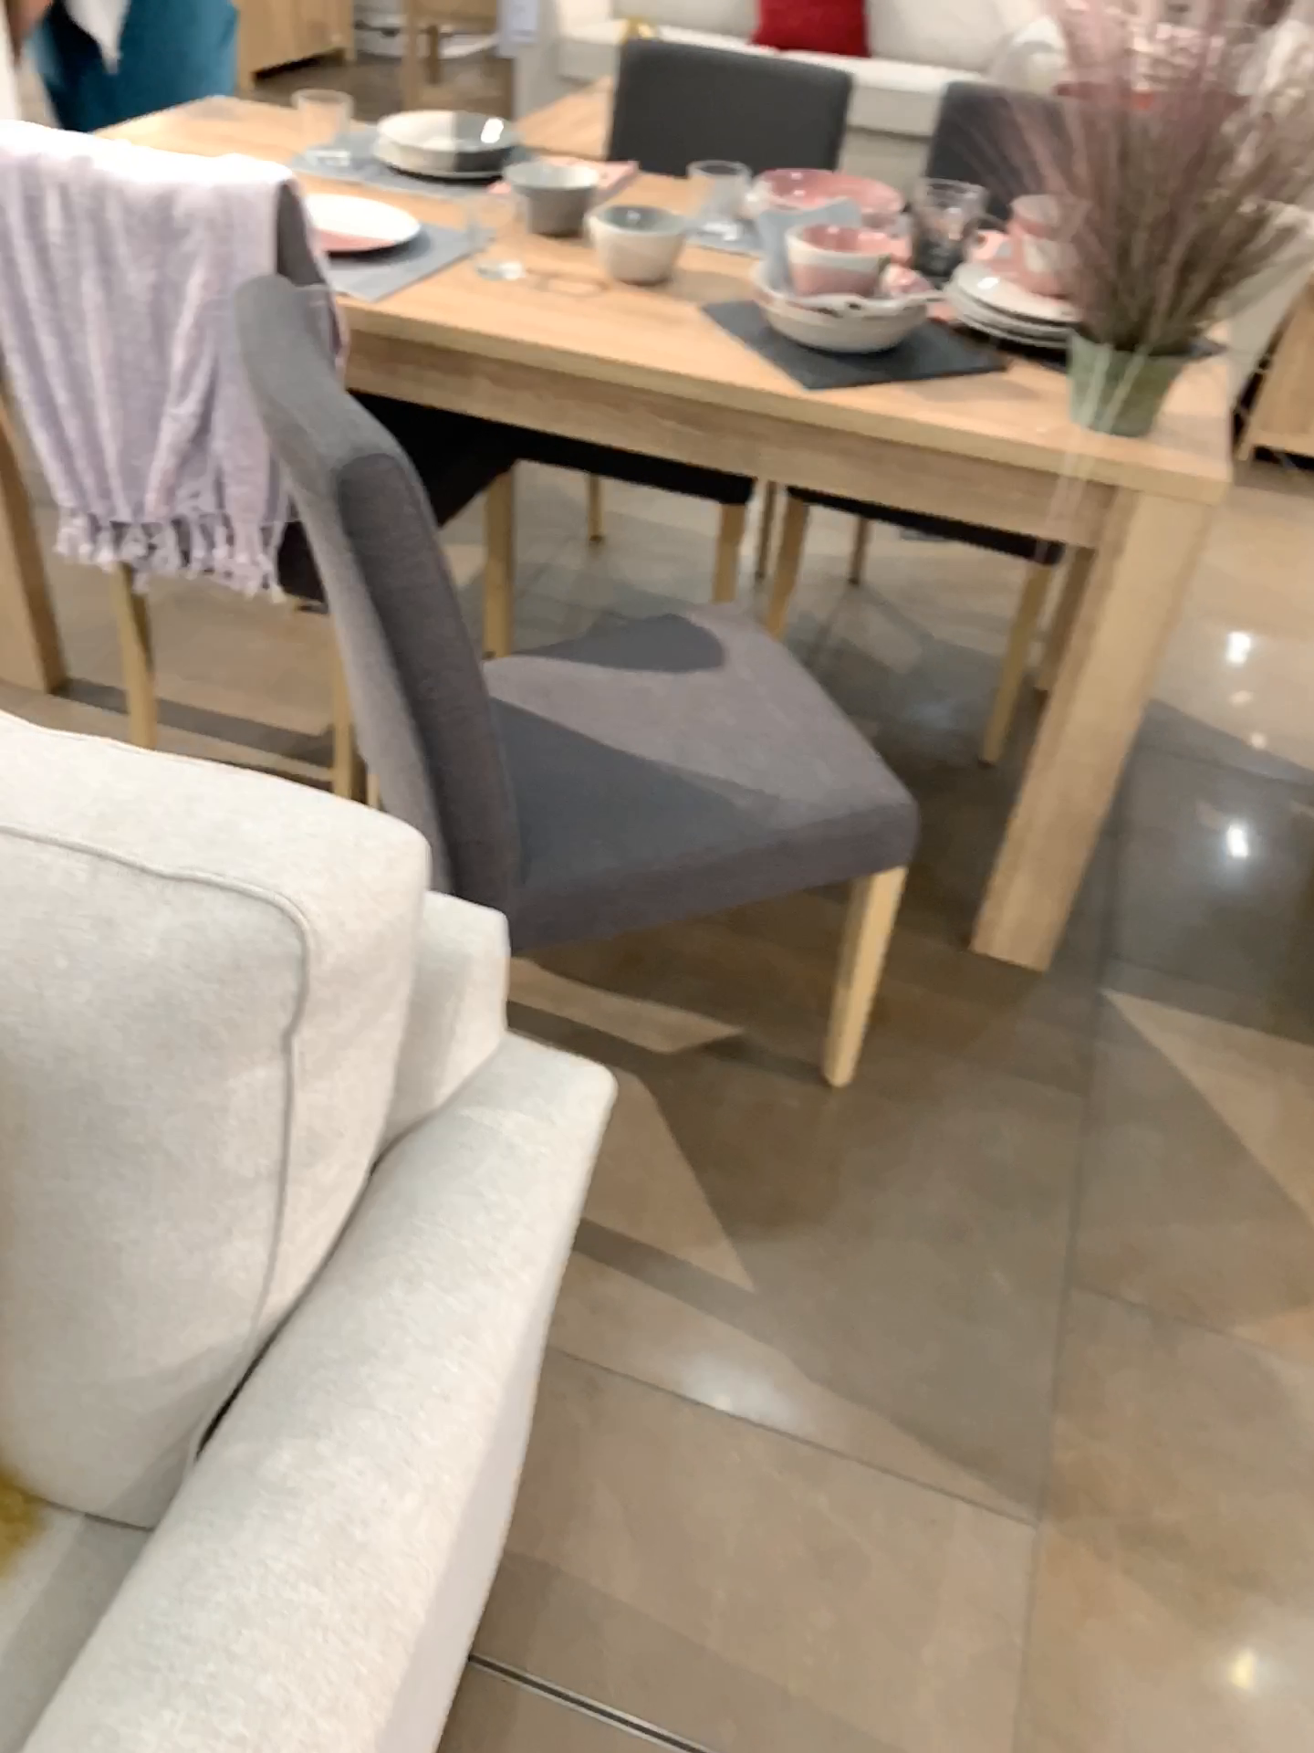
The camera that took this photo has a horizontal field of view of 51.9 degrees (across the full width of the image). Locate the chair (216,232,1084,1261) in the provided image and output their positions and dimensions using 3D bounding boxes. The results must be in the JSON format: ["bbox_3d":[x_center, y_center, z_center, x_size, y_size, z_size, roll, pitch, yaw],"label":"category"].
[{"bbox_3d":[-0.068,-0.139,1.452,0.615,0.889,0.510,-11,42,-19],"label":"chair"}]
